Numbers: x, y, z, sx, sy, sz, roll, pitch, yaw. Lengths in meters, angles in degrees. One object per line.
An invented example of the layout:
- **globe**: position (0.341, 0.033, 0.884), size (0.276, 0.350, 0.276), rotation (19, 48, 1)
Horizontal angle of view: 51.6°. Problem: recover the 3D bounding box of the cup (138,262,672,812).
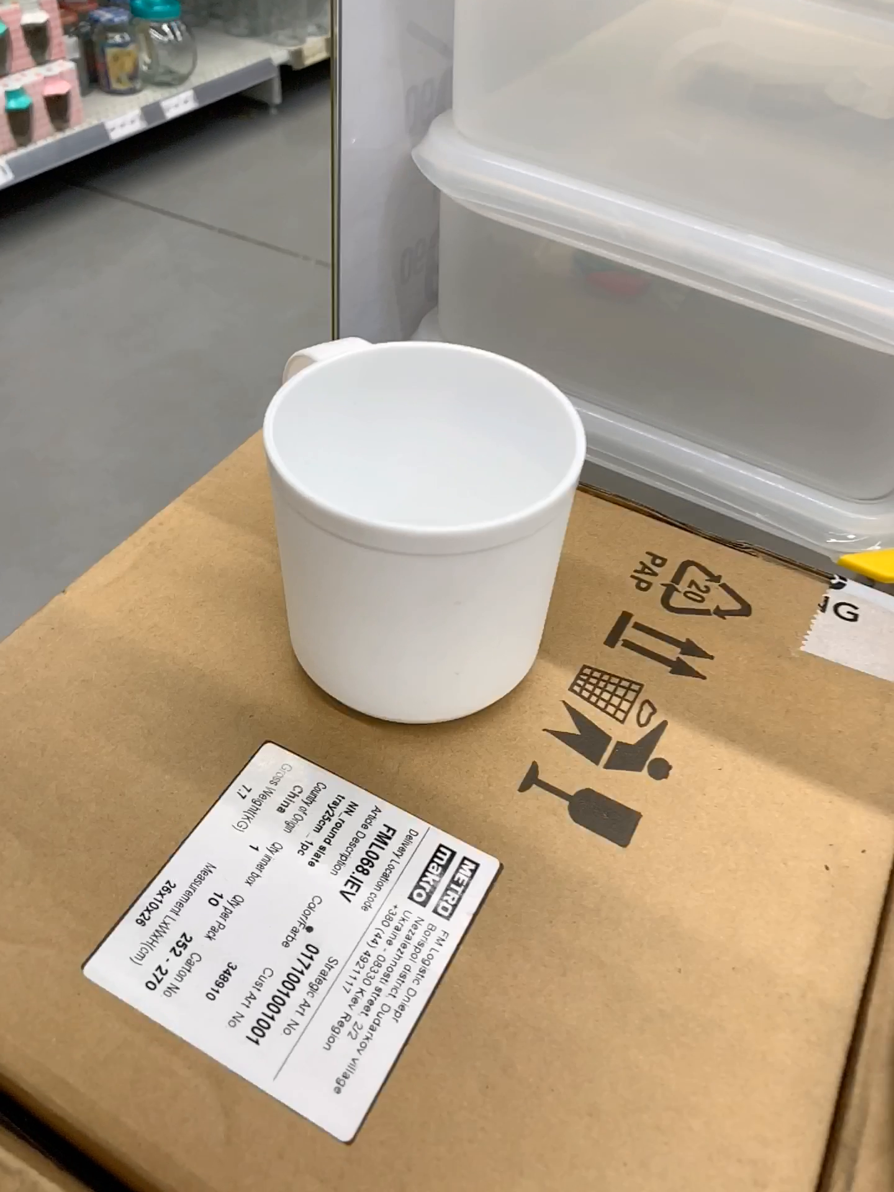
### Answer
- **cup**: position (-0.016, -0.023, 0.249), size (0.080, 0.075, 0.113), rotation (-24, 52, -26)
